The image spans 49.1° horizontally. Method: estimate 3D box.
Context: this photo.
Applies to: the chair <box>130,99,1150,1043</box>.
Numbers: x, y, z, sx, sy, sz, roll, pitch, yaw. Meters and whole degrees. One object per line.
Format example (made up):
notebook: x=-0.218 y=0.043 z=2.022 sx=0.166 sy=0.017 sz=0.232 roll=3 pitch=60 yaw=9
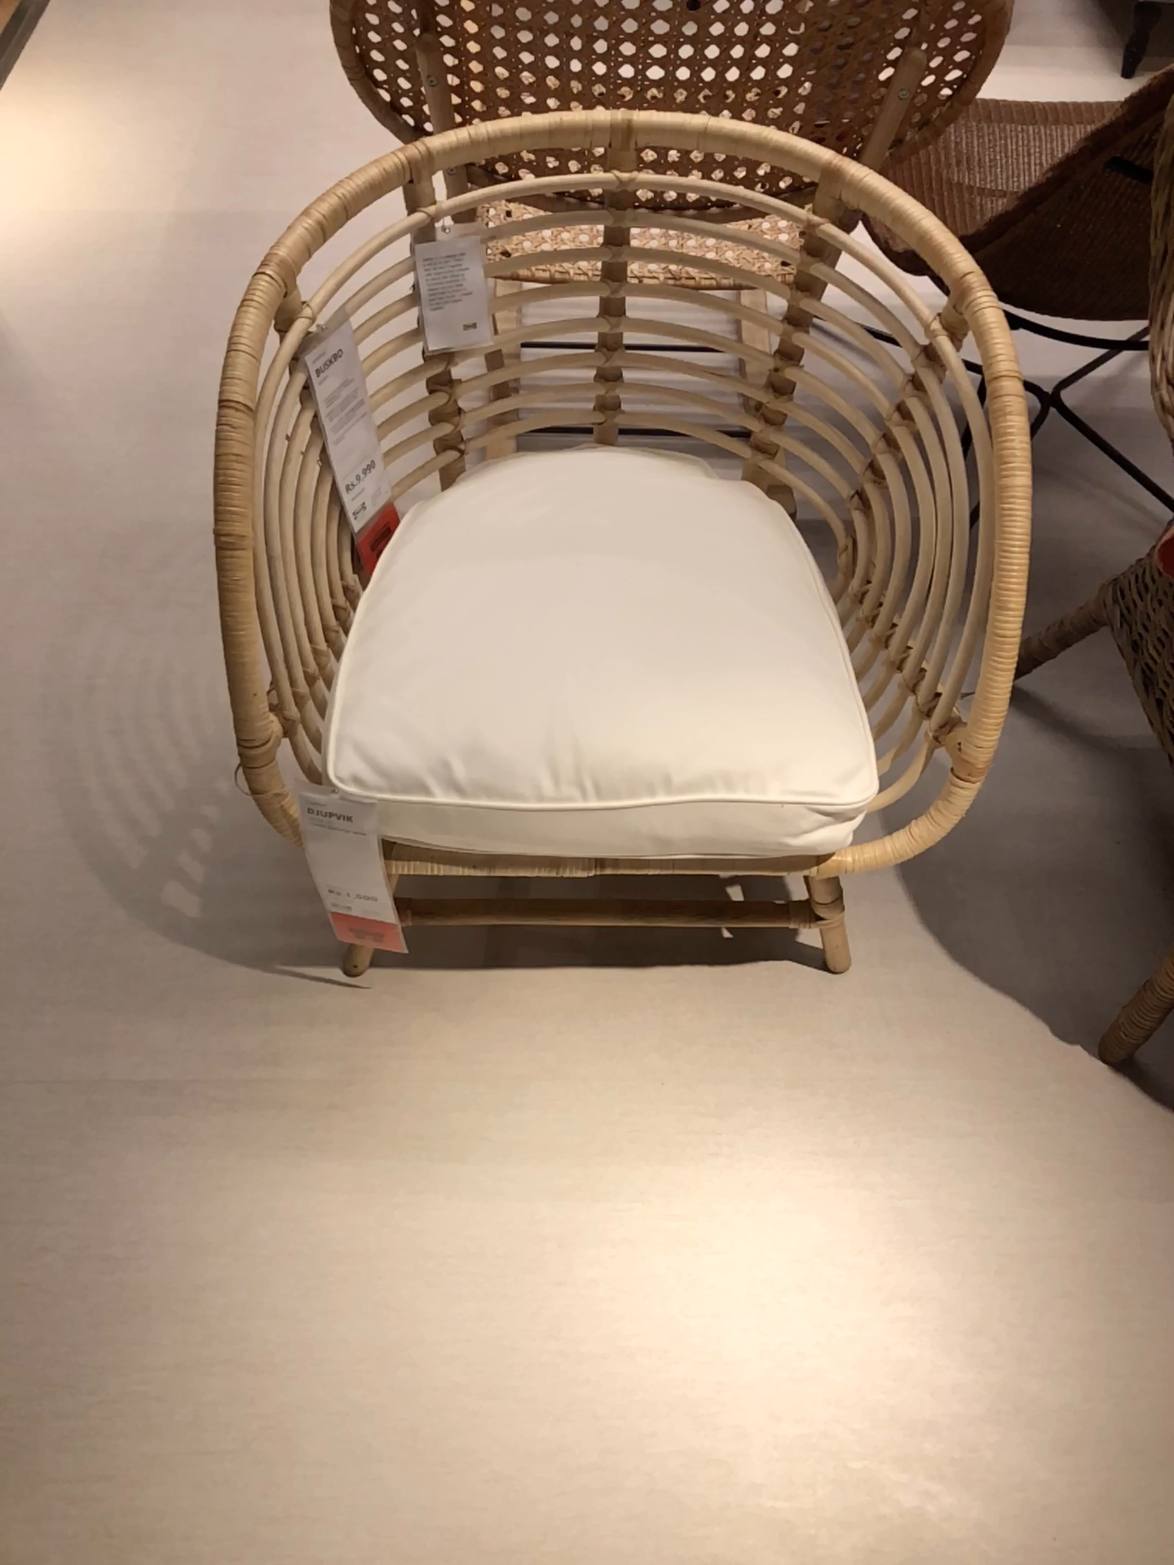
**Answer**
chair: x=0.031 y=-0.195 z=1.481 sx=0.750 sy=0.825 sz=0.684 roll=0 pitch=53 yaw=-1
